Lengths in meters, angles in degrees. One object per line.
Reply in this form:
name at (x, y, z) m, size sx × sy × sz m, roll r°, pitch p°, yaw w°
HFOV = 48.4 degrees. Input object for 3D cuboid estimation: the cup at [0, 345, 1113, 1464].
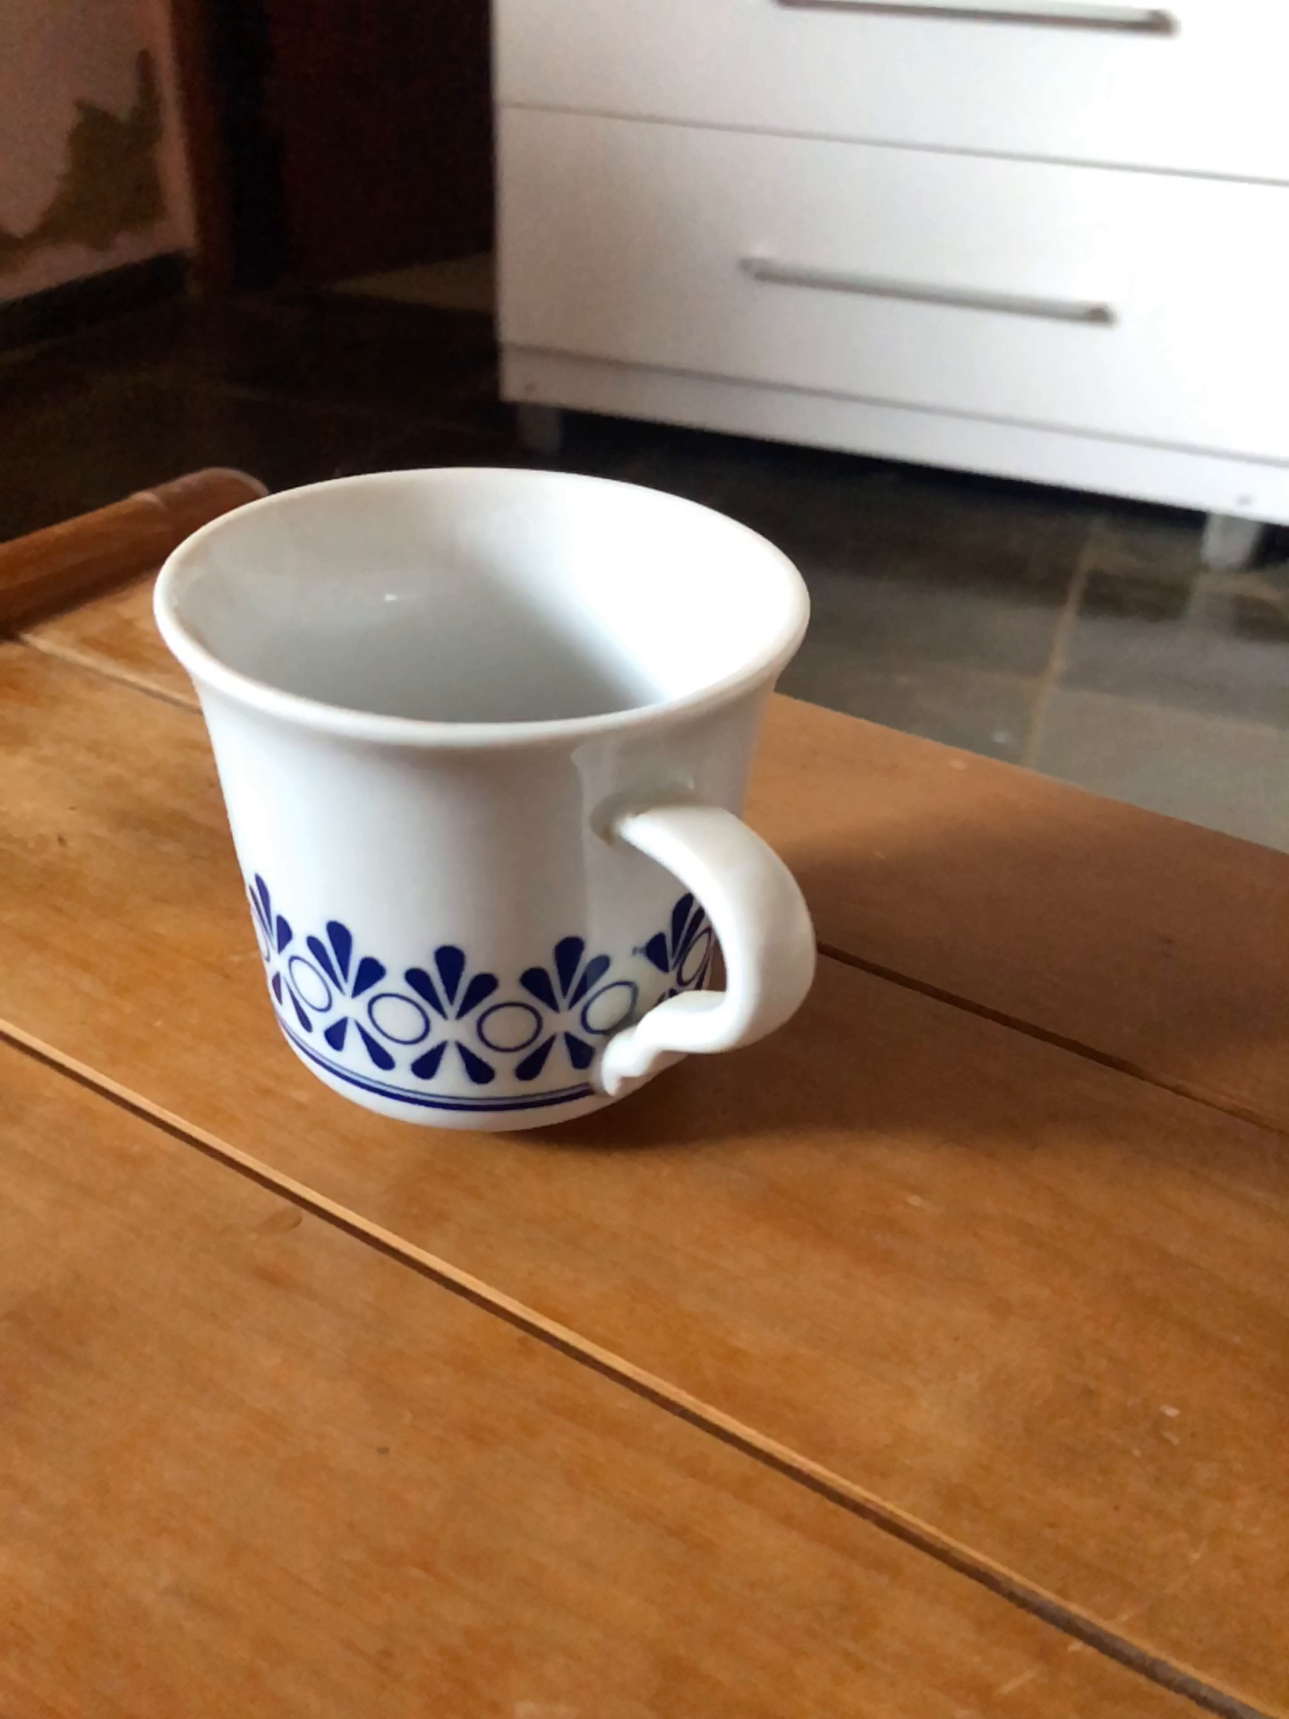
cup at (-0.026, -0.012, 0.205) m, size 0.100 × 0.079 × 0.130 m, roll -20°, pitch 40°, yaw -31°
